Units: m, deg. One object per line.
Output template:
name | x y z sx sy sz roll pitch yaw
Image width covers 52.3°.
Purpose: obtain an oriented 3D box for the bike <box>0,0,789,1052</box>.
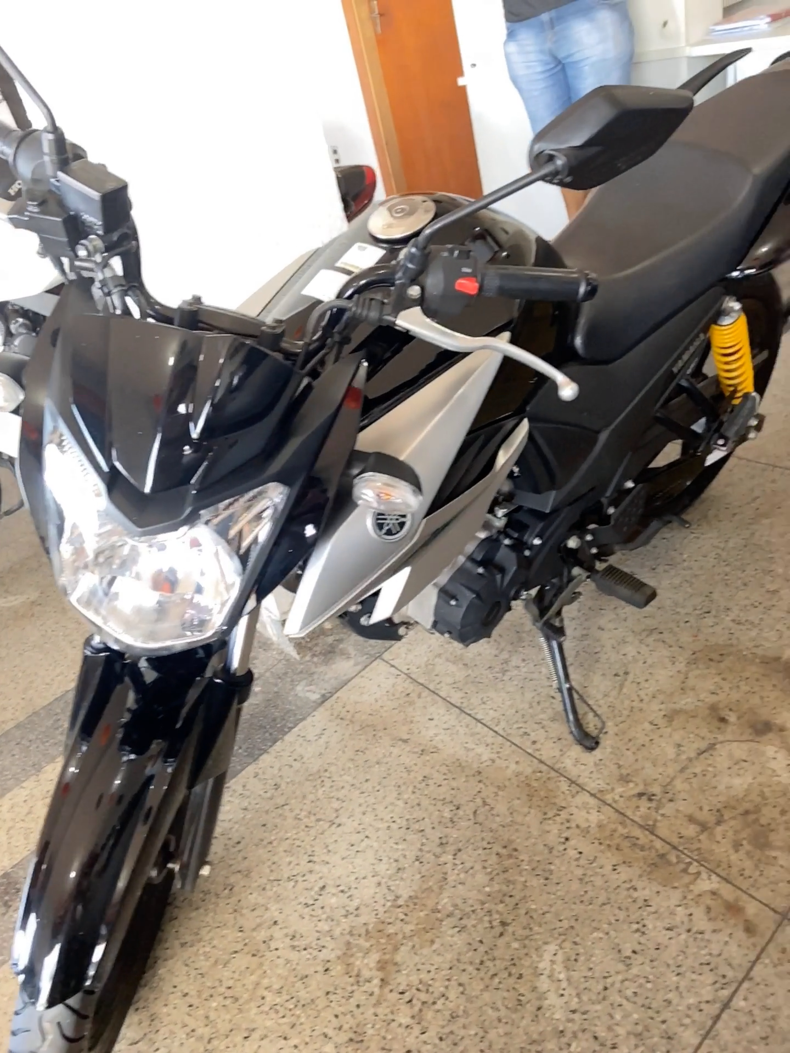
bike | 0.302 -0.081 1.182 0.817 1.331 2.008 16 44 41
